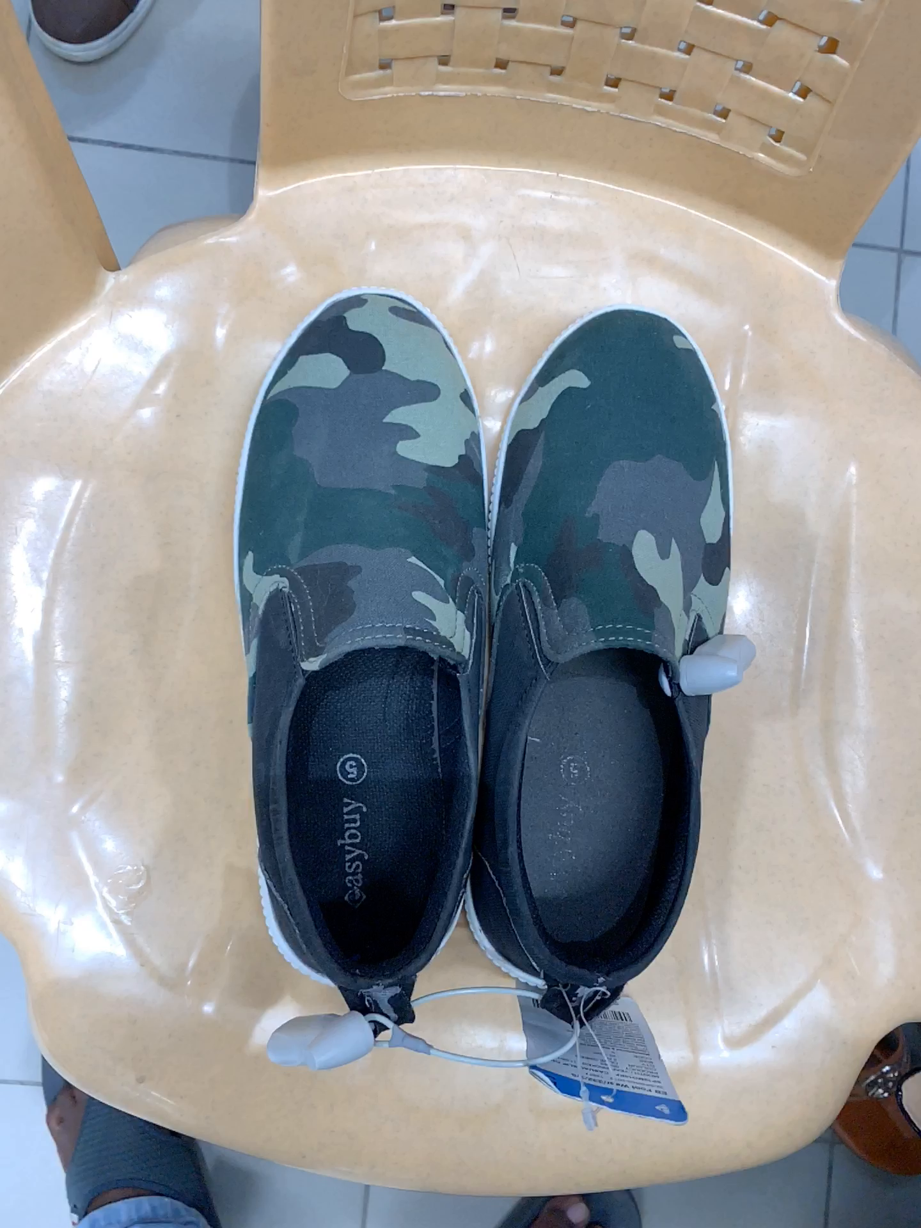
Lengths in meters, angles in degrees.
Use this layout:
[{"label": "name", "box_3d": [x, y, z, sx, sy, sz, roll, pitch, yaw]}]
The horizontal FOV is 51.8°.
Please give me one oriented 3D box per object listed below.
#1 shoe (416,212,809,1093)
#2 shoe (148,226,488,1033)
[{"label": "shoe", "box_3d": [0.044, 0.011, 0.316, 0.090, 0.100, 0.240, 6, 83, -2]}, {"label": "shoe", "box_3d": [-0.042, 0.004, 0.311, 0.090, 0.100, 0.220, -1, 87, -3]}]
